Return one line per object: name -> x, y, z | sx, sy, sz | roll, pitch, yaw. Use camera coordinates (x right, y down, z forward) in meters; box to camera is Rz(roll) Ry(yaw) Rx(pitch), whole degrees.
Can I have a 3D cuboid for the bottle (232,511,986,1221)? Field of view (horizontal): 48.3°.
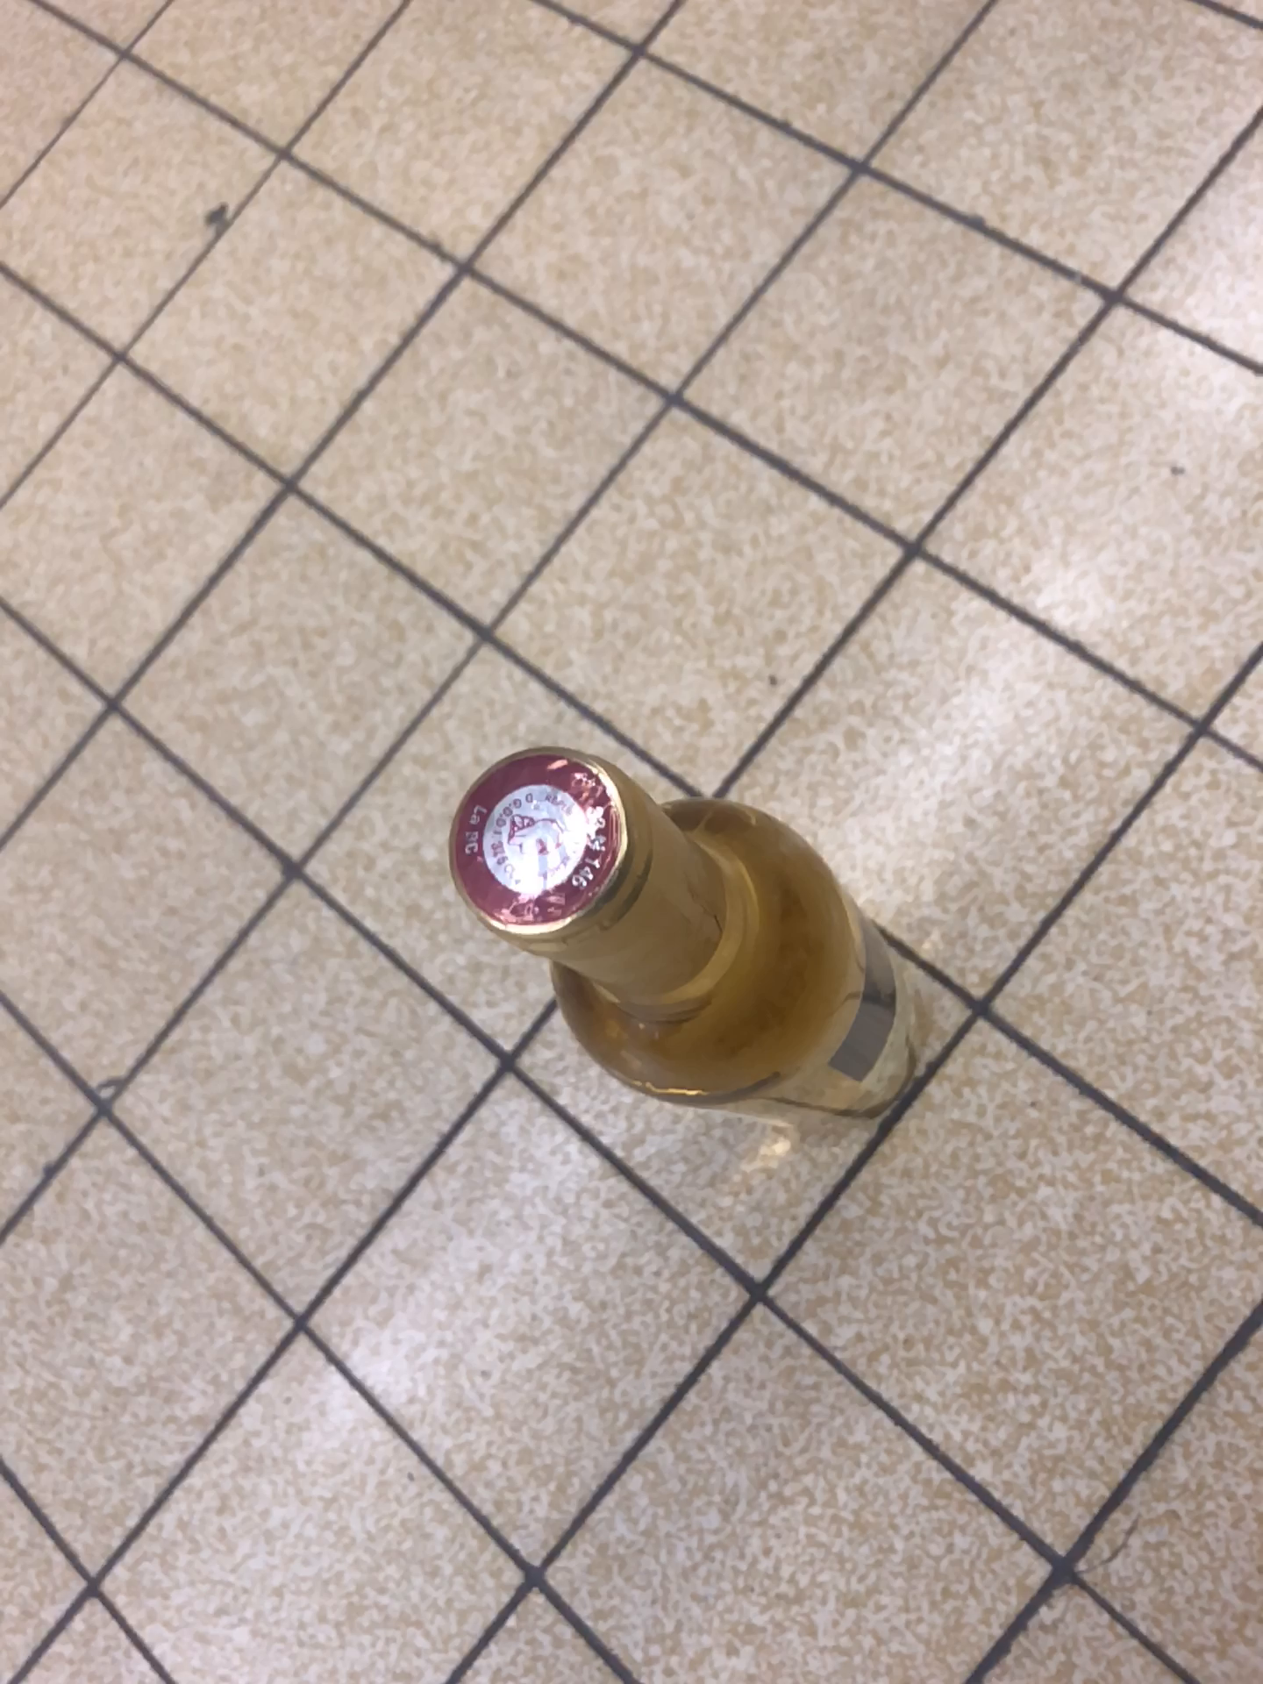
bottle -> 0.021, 0.030, 0.296 | 0.070, 0.240, 0.070 | -4, 75, 15
